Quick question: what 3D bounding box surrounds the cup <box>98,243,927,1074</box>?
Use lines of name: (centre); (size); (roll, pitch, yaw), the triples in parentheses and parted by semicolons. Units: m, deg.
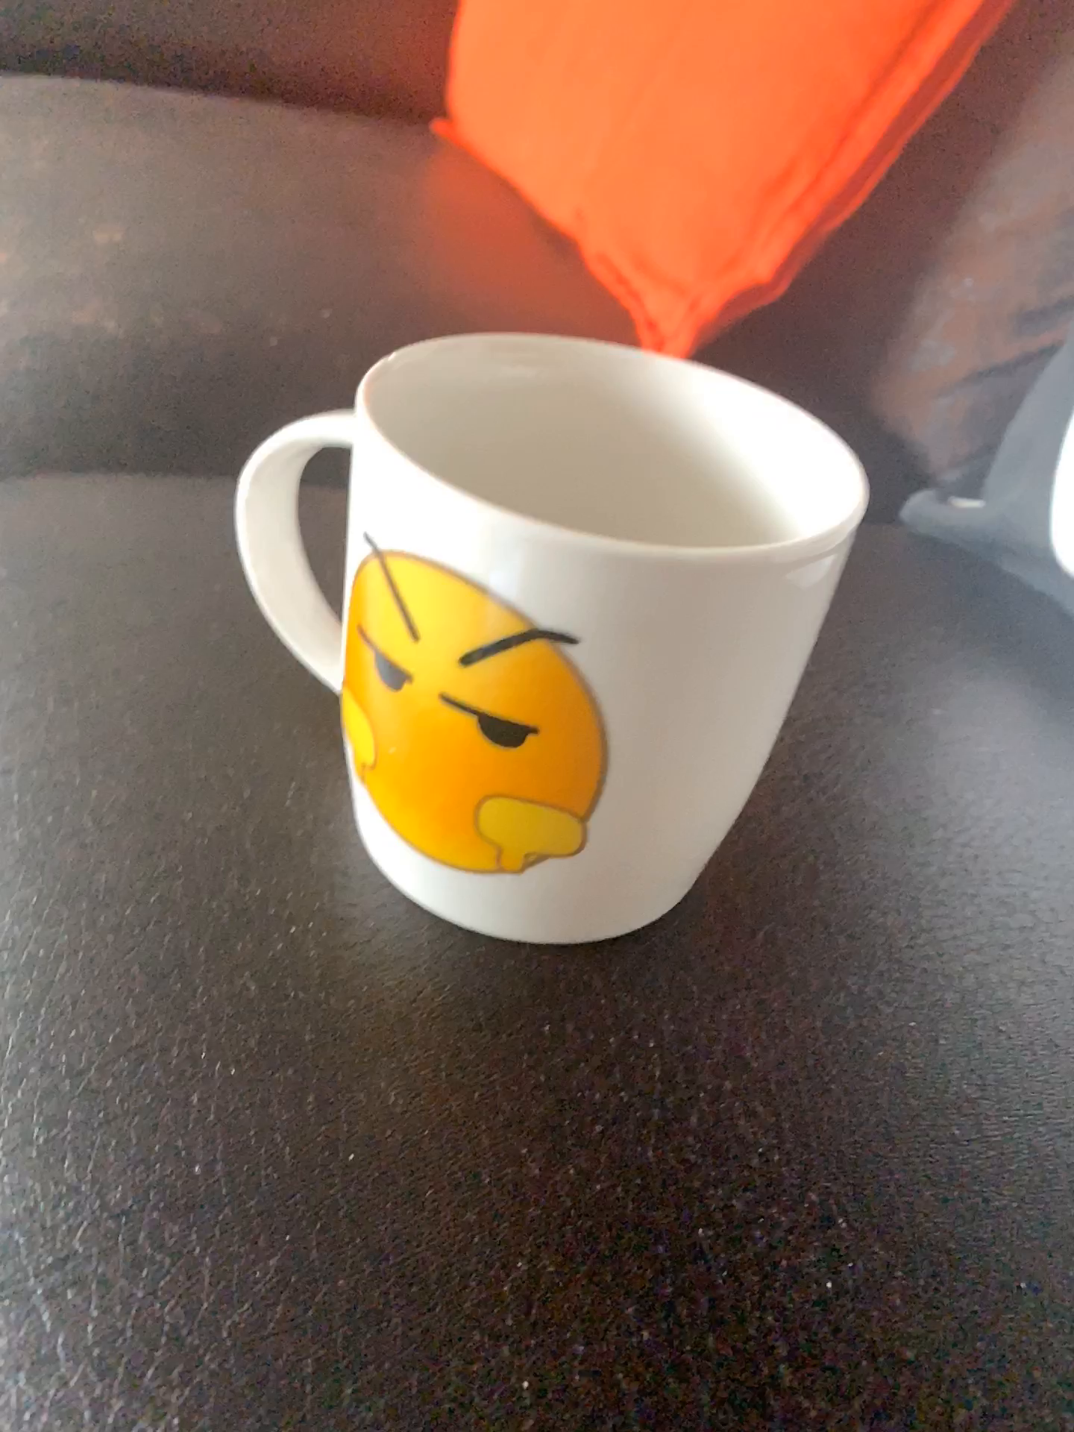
cup: (-0.010, -0.019, 0.222); (0.120, 0.099, 0.081); (29, 39, 21)
